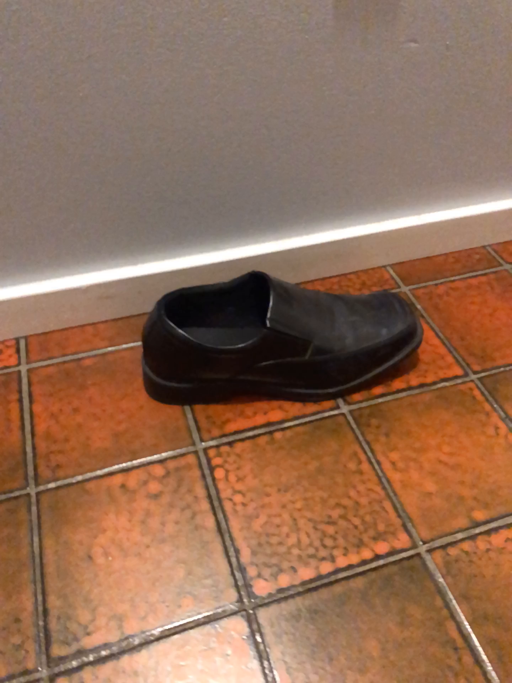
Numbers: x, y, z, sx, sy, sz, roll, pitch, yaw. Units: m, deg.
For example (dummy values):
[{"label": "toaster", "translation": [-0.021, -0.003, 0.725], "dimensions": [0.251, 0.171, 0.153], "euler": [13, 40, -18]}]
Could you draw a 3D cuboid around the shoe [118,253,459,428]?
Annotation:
[{"label": "shoe", "translation": [0.024, -0.004, 0.569], "dimensions": [0.300, 0.100, 0.120], "euler": [-4, 46, -6]}]
